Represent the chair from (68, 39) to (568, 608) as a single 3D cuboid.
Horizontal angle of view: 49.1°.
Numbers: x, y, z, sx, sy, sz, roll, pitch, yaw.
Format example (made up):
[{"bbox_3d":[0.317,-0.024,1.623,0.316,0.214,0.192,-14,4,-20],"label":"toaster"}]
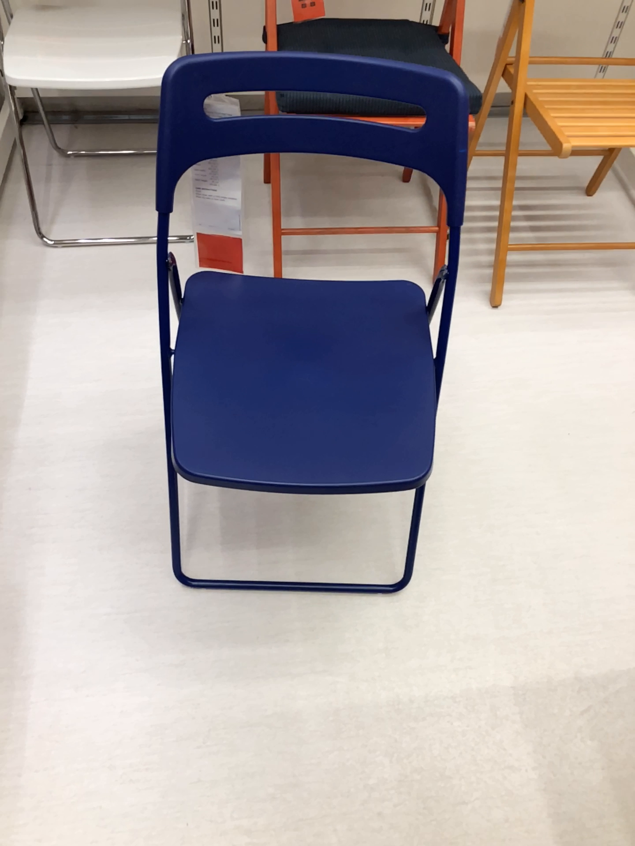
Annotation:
[{"bbox_3d":[-0.014,-0.097,1.068,0.460,0.696,0.503,2,53,-2],"label":"chair"}]
